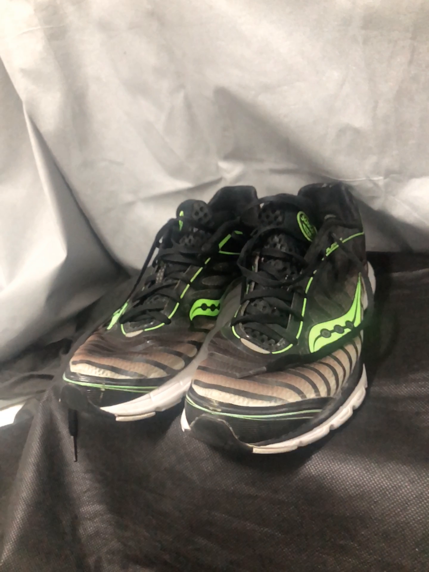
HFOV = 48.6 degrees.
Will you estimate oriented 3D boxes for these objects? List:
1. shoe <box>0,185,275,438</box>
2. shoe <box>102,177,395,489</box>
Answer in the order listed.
[{"bbox_3d":[-0.052,-0.001,0.405,0.117,0.096,0.225,5,32,30],"label":"shoe"},{"bbox_3d":[0.048,0.007,0.343,0.114,0.097,0.225,5,32,30],"label":"shoe"}]
